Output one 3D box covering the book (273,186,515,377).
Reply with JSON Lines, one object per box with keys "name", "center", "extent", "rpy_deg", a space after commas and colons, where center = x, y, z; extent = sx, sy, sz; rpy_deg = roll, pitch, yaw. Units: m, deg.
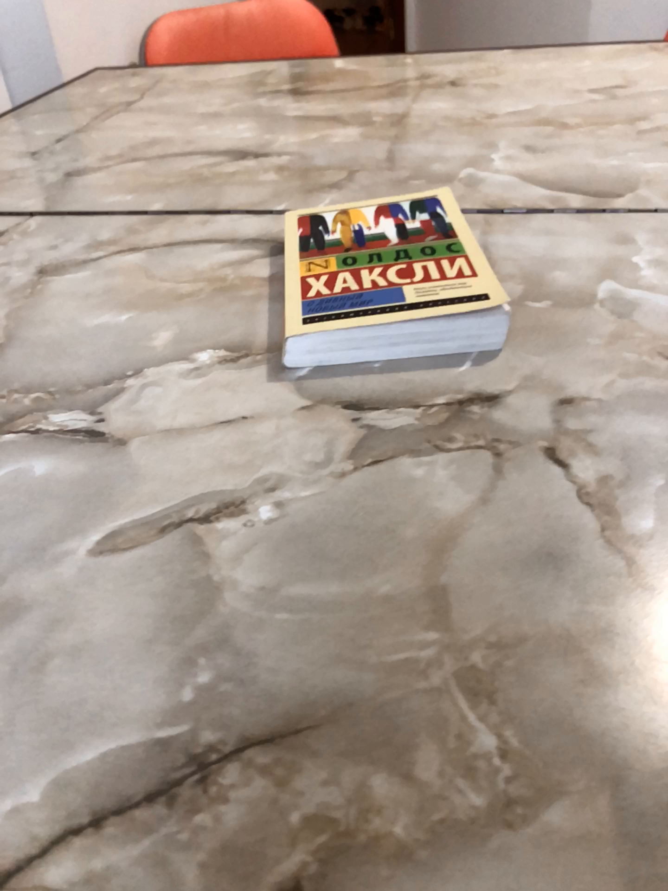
{"name": "book", "center": [0.028, -0.108, 0.447], "extent": [0.120, 0.028, 0.185], "rpy_deg": [-5, 37, 1]}
